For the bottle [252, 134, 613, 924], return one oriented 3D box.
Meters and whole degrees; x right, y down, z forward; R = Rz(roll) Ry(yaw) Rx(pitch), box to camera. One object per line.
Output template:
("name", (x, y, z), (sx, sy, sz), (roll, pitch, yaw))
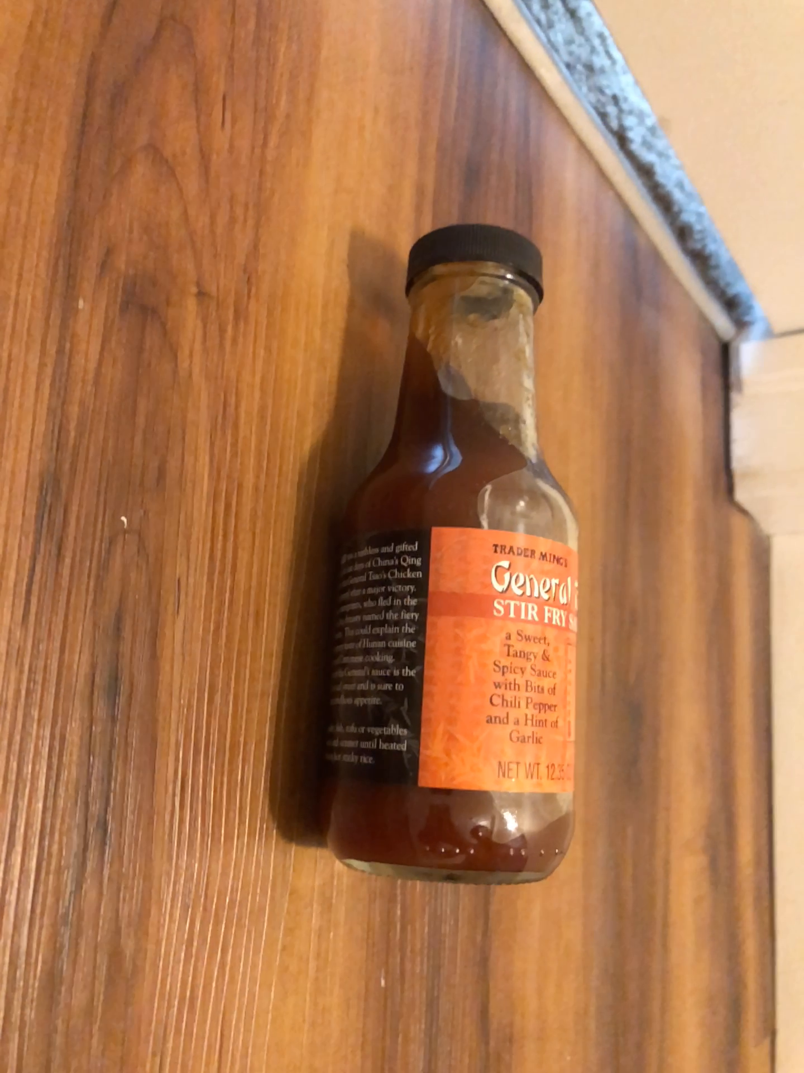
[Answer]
("bottle", (0.013, 0.000, 0.243), (0.069, 0.060, 0.180), (19, 69, -49))
